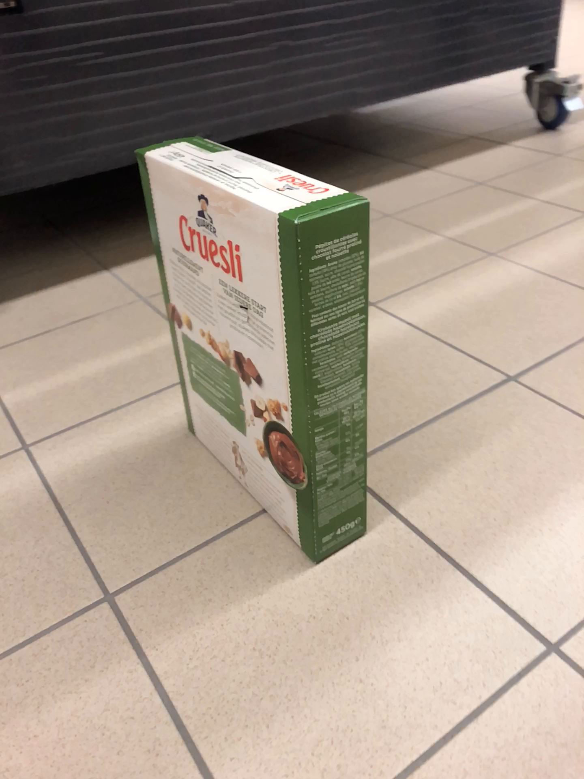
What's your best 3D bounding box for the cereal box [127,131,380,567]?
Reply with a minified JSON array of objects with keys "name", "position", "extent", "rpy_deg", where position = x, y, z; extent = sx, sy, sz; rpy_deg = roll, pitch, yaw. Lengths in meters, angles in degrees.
[{"name":"cereal box","position":[-0.025,-0.032,0.445],"extent":[0.060,0.239,0.191],"rpy_deg":[-23,38,-25]}]
